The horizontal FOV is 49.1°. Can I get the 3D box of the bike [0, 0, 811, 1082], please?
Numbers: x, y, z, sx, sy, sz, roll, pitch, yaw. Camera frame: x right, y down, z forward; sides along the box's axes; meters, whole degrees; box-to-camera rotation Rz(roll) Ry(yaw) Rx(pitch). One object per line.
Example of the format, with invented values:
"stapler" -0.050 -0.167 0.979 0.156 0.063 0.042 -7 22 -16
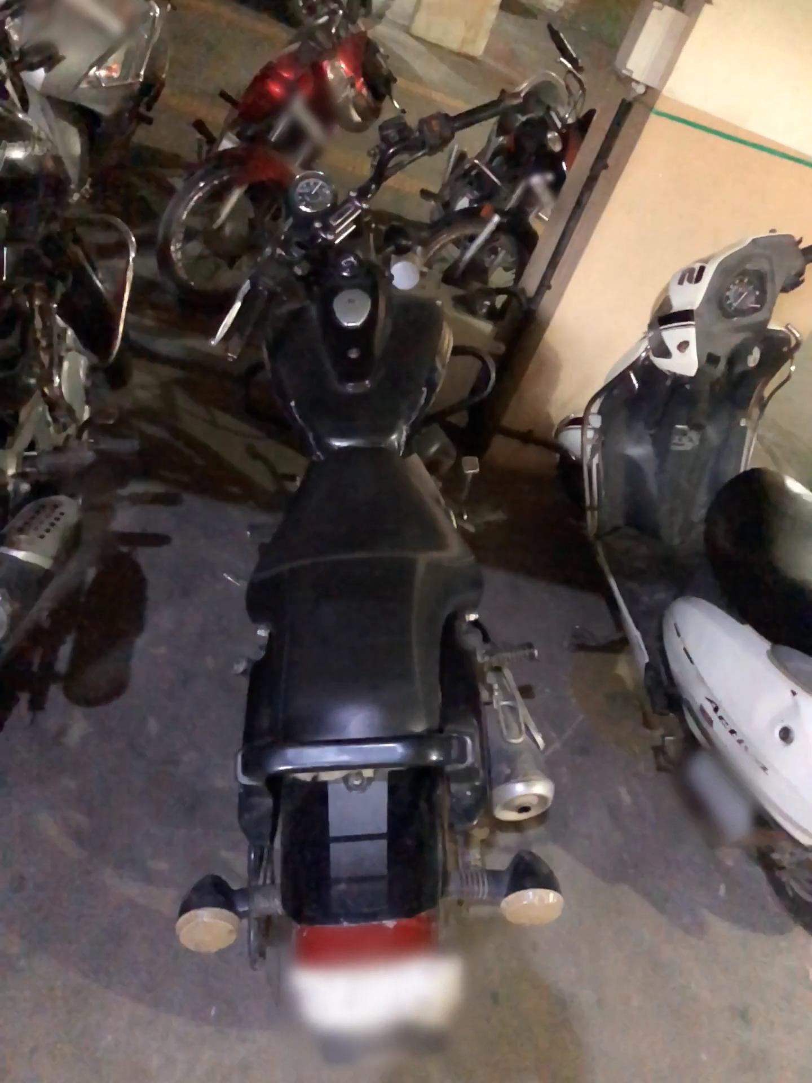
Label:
"bike" -0.206 -0.182 1.582 0.863 1.251 1.676 9 40 -19
